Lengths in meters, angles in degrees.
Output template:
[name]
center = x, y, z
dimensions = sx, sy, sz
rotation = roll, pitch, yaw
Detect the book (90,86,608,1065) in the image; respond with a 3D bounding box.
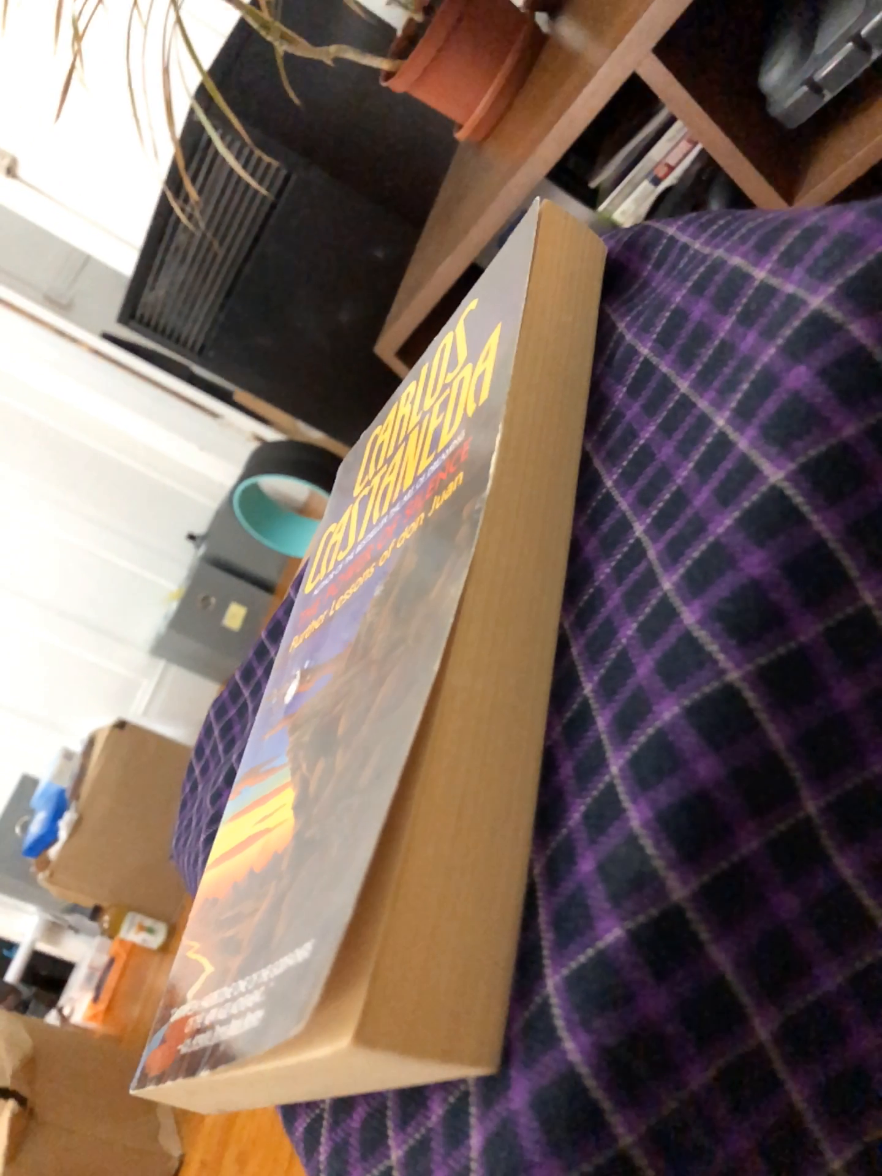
[book]
center = -0.021, -0.004, 0.249
dimensions = 0.150, 0.020, 0.221
rotation = -41, 29, 50
